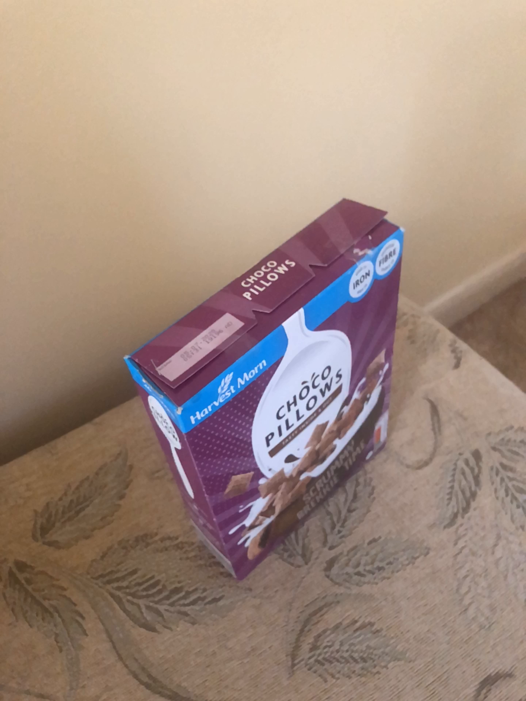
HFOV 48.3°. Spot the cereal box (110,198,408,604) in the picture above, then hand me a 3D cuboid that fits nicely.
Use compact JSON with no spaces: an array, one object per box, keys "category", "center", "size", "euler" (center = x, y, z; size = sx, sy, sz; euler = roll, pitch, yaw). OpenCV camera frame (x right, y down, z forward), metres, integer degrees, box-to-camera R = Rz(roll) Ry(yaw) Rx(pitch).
[{"category":"cereal box","center":[0.015,0.056,0.462],"size":[0.060,0.278,0.201],"euler":[34,60,29]}]
